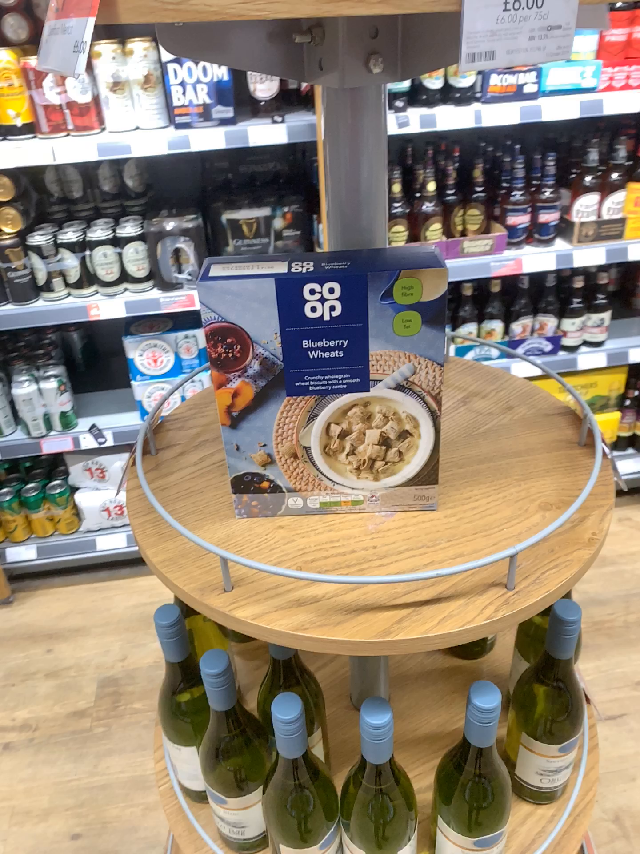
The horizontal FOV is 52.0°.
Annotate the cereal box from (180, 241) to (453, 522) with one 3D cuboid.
[{"bbox_3d":[0.003,-0.031,0.565,0.200,0.228,0.061,-3,31,1],"label":"cereal box"}]
